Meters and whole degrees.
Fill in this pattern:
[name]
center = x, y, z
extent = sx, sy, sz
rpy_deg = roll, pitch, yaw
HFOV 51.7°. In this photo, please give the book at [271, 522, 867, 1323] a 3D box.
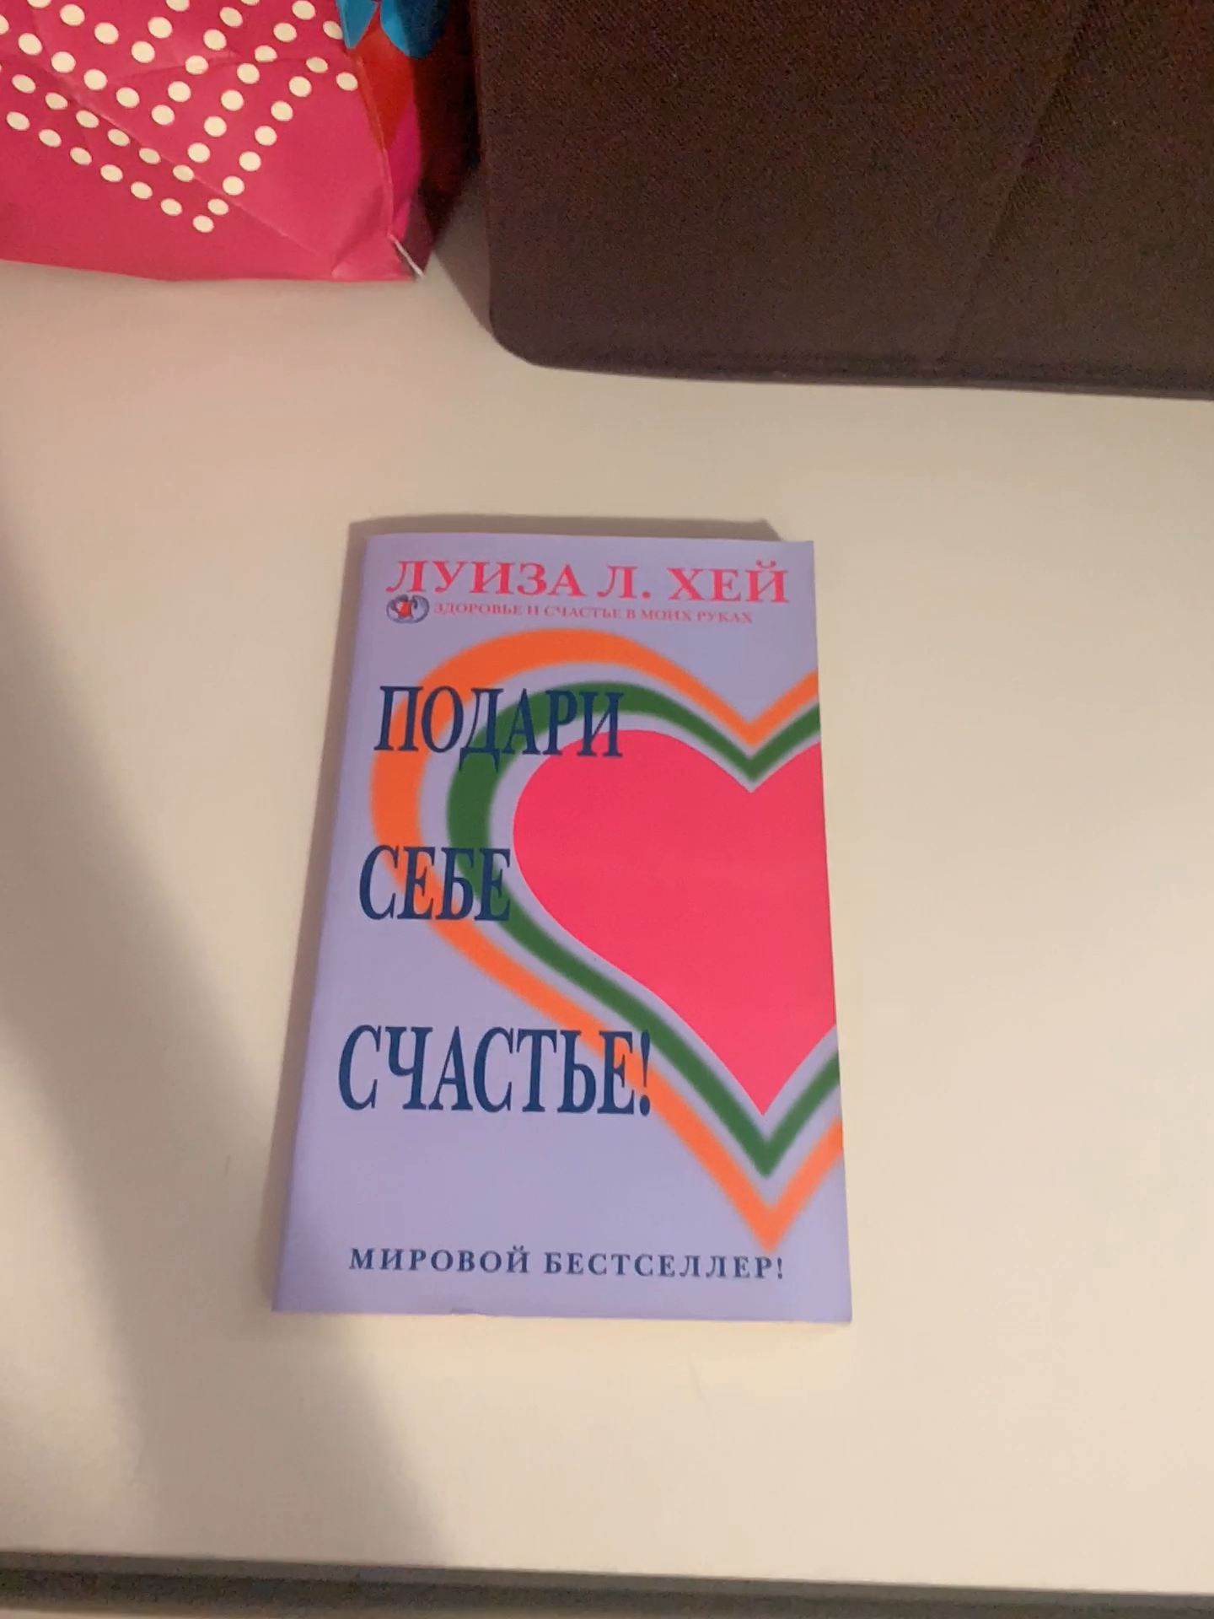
[book]
center = -0.006, 0.018, 0.304
extent = 0.123, 0.016, 0.195
rpy_deg = 1, 67, -1
